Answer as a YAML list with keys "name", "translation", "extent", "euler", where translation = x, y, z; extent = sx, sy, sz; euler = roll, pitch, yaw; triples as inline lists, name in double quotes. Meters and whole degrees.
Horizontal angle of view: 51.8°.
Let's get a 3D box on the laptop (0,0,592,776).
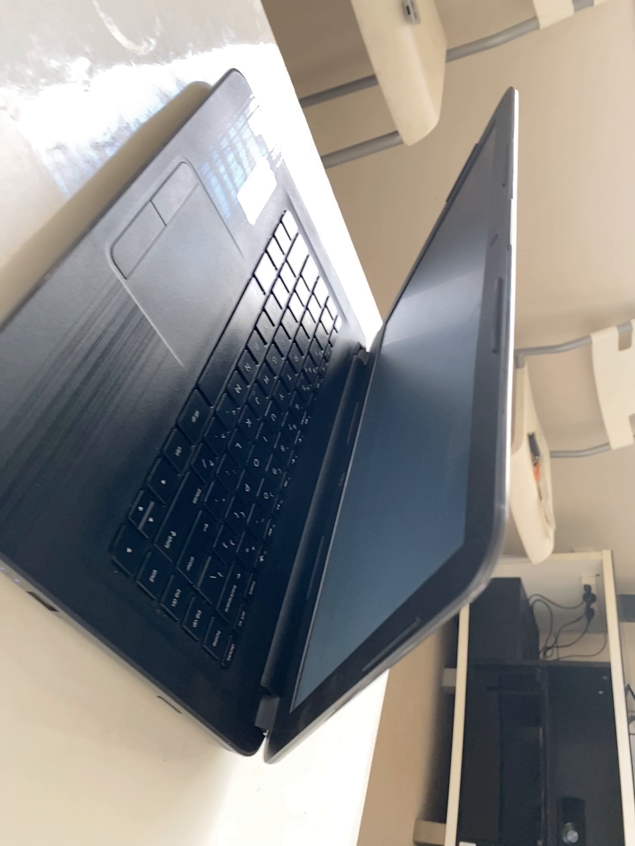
- name: "laptop"
  translation: [0.029, -0.045, 0.334]
  extent: [0.226, 0.154, 0.336]
  euler: [61, 32, -37]
